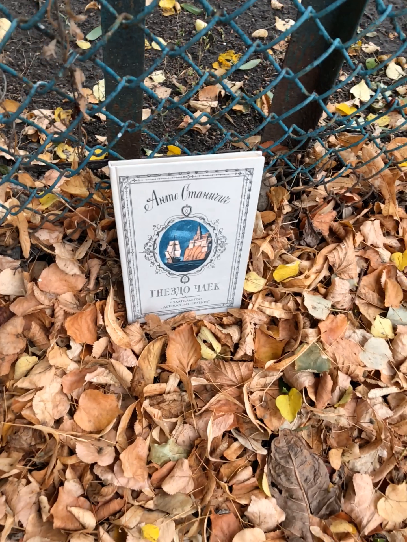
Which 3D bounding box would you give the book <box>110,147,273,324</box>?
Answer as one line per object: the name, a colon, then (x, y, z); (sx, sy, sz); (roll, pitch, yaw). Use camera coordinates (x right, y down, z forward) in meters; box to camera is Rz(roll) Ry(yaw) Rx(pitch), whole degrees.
book: (-0.013, -0.023, 0.427); (0.128, 0.200, 0.016); (-6, 48, -9)
